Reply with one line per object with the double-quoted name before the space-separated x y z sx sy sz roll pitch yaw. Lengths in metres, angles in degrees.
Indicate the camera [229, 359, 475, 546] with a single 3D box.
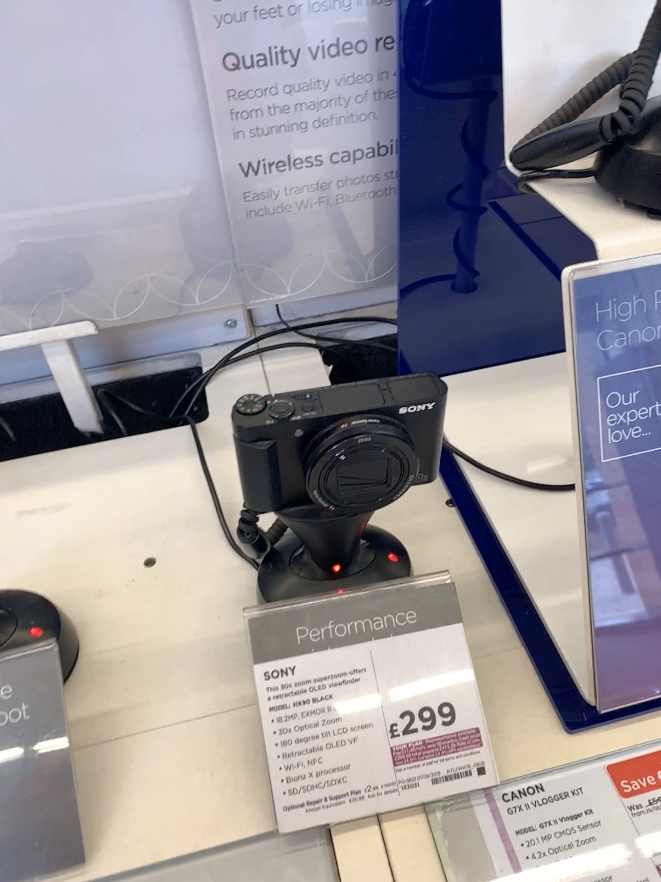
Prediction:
"camera" 0.009 0.005 0.315 0.100 0.059 0.040 -9 43 -7
